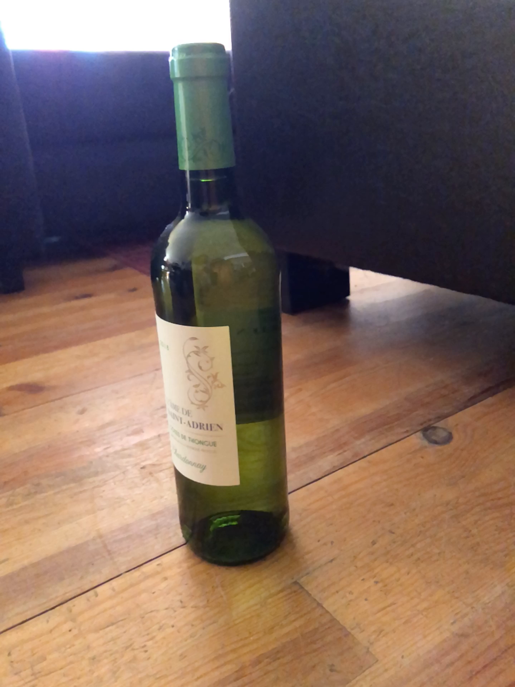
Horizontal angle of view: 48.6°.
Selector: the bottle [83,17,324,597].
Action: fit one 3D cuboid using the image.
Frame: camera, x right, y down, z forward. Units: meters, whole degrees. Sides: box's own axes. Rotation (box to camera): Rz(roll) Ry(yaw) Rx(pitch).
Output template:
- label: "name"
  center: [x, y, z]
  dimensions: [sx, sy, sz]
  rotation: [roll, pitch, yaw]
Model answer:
- label: "bottle"
  center: [-0.020, -0.011, 0.333]
  dimensions: [0.080, 0.299, 0.080]
  rotation: [-3, 20, 1]
